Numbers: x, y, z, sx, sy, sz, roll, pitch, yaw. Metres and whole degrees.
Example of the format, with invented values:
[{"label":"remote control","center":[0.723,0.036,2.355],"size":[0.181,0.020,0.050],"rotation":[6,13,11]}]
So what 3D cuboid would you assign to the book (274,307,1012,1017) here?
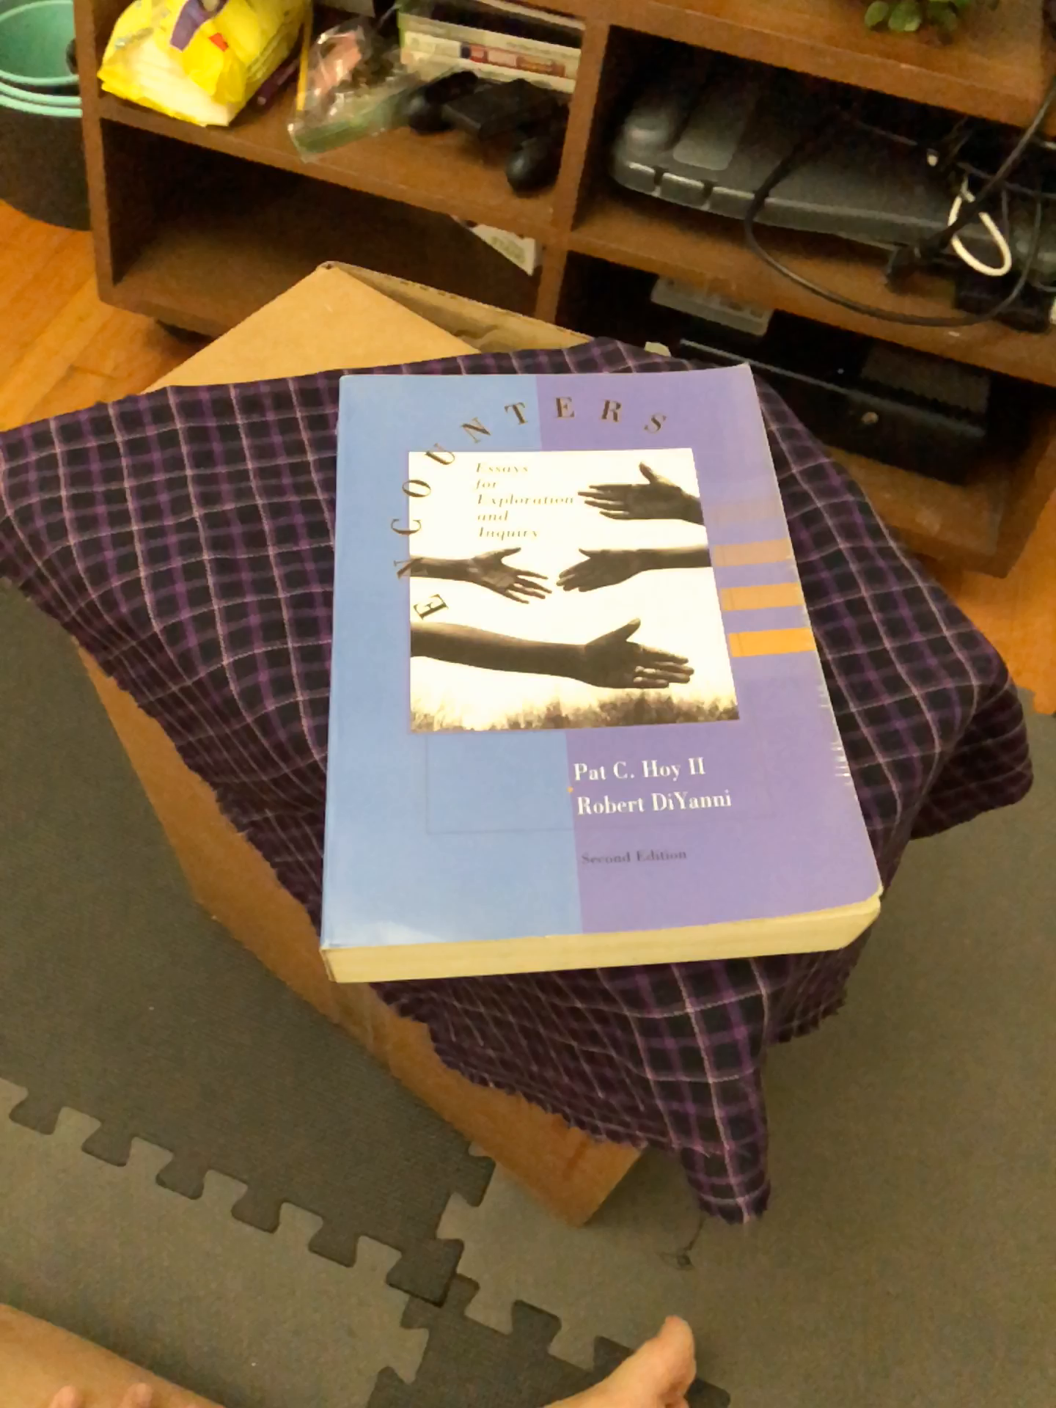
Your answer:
[{"label":"book","center":[0.023,-0.033,0.398],"size":[0.200,0.040,0.261],"rotation":[-2,57,-5]}]
